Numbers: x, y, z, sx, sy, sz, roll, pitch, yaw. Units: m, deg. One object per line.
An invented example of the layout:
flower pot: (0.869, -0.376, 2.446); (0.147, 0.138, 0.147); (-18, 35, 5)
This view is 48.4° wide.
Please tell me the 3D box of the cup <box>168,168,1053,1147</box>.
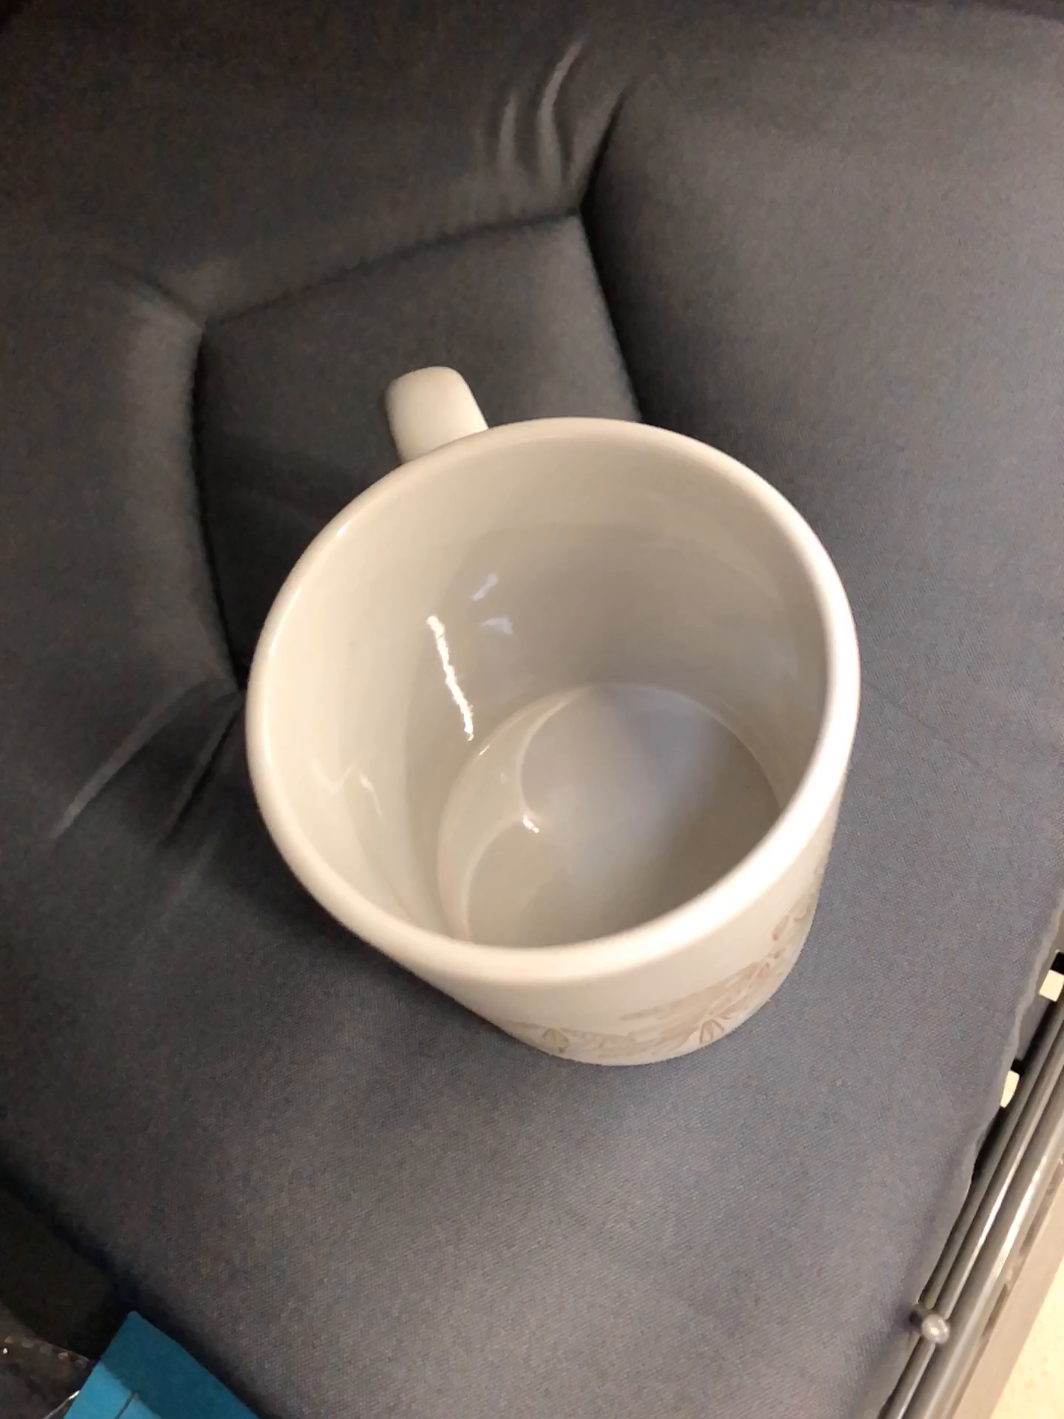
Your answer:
cup: (0.010, 0.000, 0.209); (0.090, 0.100, 0.120); (-20, 66, 3)
